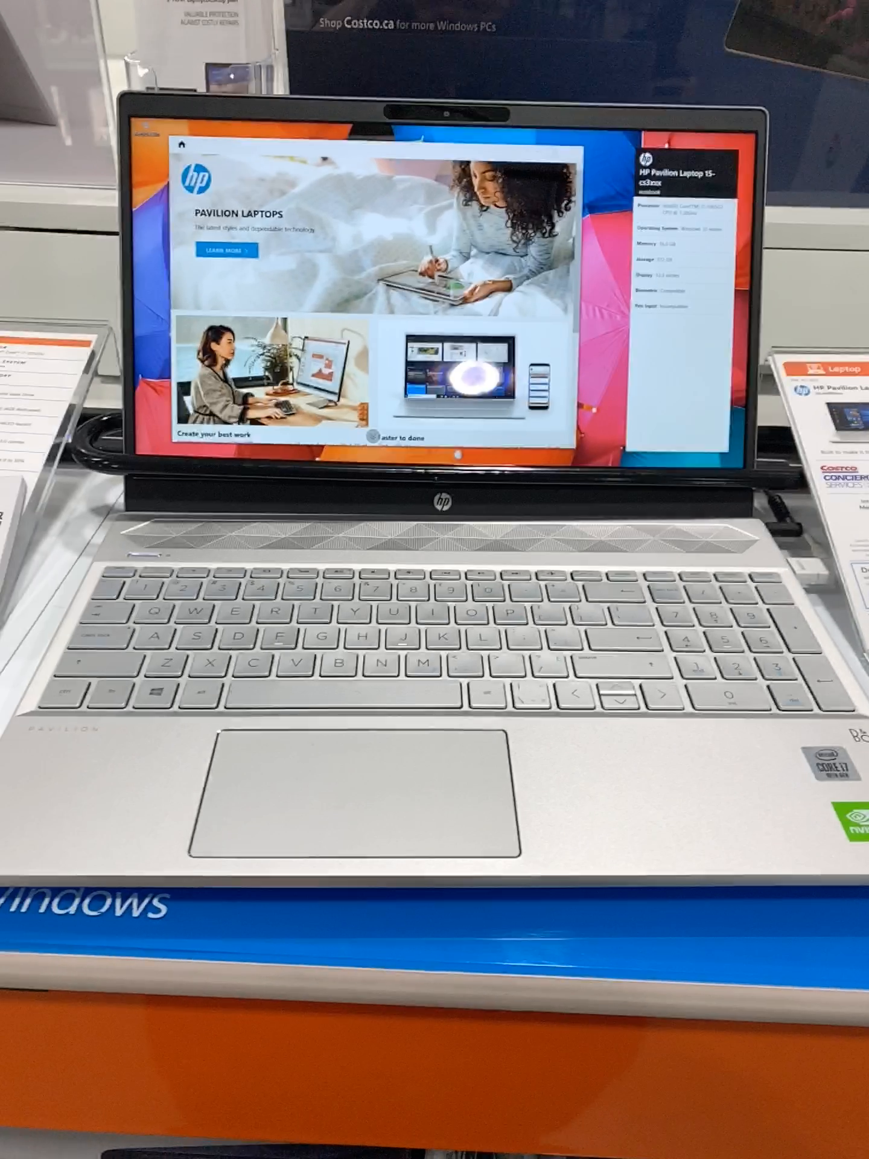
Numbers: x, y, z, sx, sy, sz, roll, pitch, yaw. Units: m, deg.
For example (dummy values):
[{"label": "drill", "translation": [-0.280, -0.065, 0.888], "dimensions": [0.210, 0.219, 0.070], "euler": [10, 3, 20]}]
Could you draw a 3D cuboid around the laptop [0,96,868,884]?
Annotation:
[{"label": "laptop", "translation": [0.010, -0.076, 0.373], "dimensions": [0.332, 0.175, 0.335], "euler": [0, 35, -2]}]
